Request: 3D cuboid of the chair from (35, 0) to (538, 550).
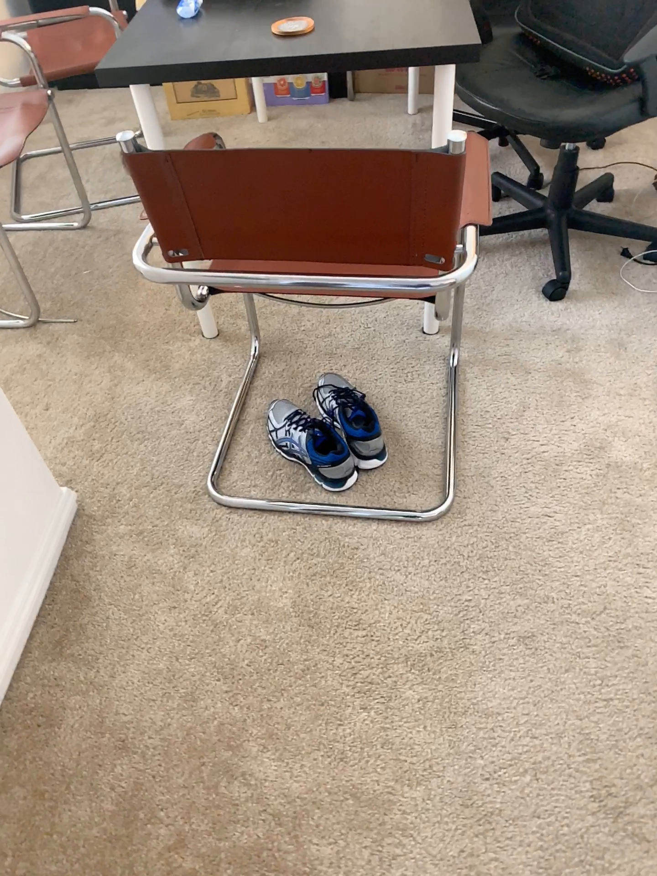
[{"bbox_3d":[0.007,-0.296,1.306,0.620,0.806,0.623,4,48,9],"label":"chair"}]
